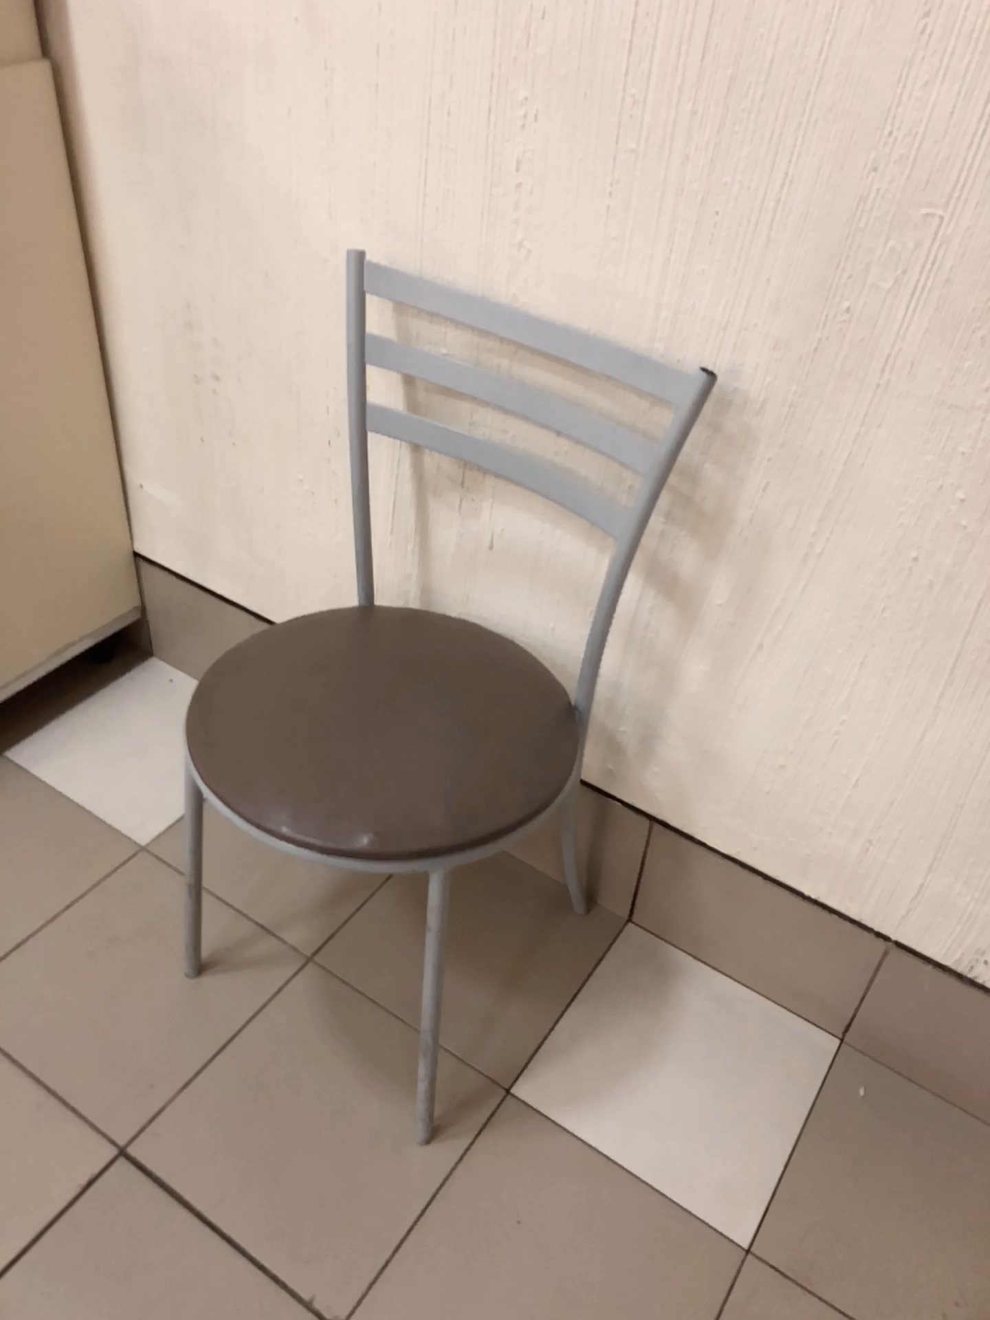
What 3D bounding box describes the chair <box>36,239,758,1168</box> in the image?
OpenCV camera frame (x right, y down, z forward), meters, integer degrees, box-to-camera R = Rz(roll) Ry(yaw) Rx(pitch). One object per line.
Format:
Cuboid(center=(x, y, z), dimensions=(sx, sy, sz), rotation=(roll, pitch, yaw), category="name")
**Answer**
Cuboid(center=(-0.090, 0.050, 1.134), dimensions=(0.431, 0.764, 0.423), rotation=(25, 42, 22), category="chair")
